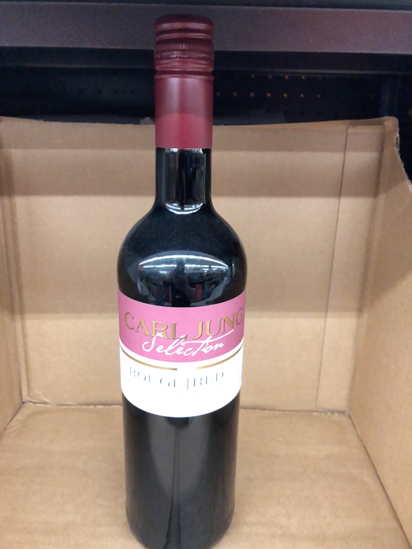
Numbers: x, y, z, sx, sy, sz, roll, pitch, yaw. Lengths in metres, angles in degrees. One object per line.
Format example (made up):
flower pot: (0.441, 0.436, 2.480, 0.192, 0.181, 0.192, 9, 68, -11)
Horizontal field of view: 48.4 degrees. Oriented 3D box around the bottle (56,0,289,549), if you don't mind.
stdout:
bottle: (-0.013, 0.021, 0.264, 0.090, 0.308, 0.080, 3, 20, 5)
